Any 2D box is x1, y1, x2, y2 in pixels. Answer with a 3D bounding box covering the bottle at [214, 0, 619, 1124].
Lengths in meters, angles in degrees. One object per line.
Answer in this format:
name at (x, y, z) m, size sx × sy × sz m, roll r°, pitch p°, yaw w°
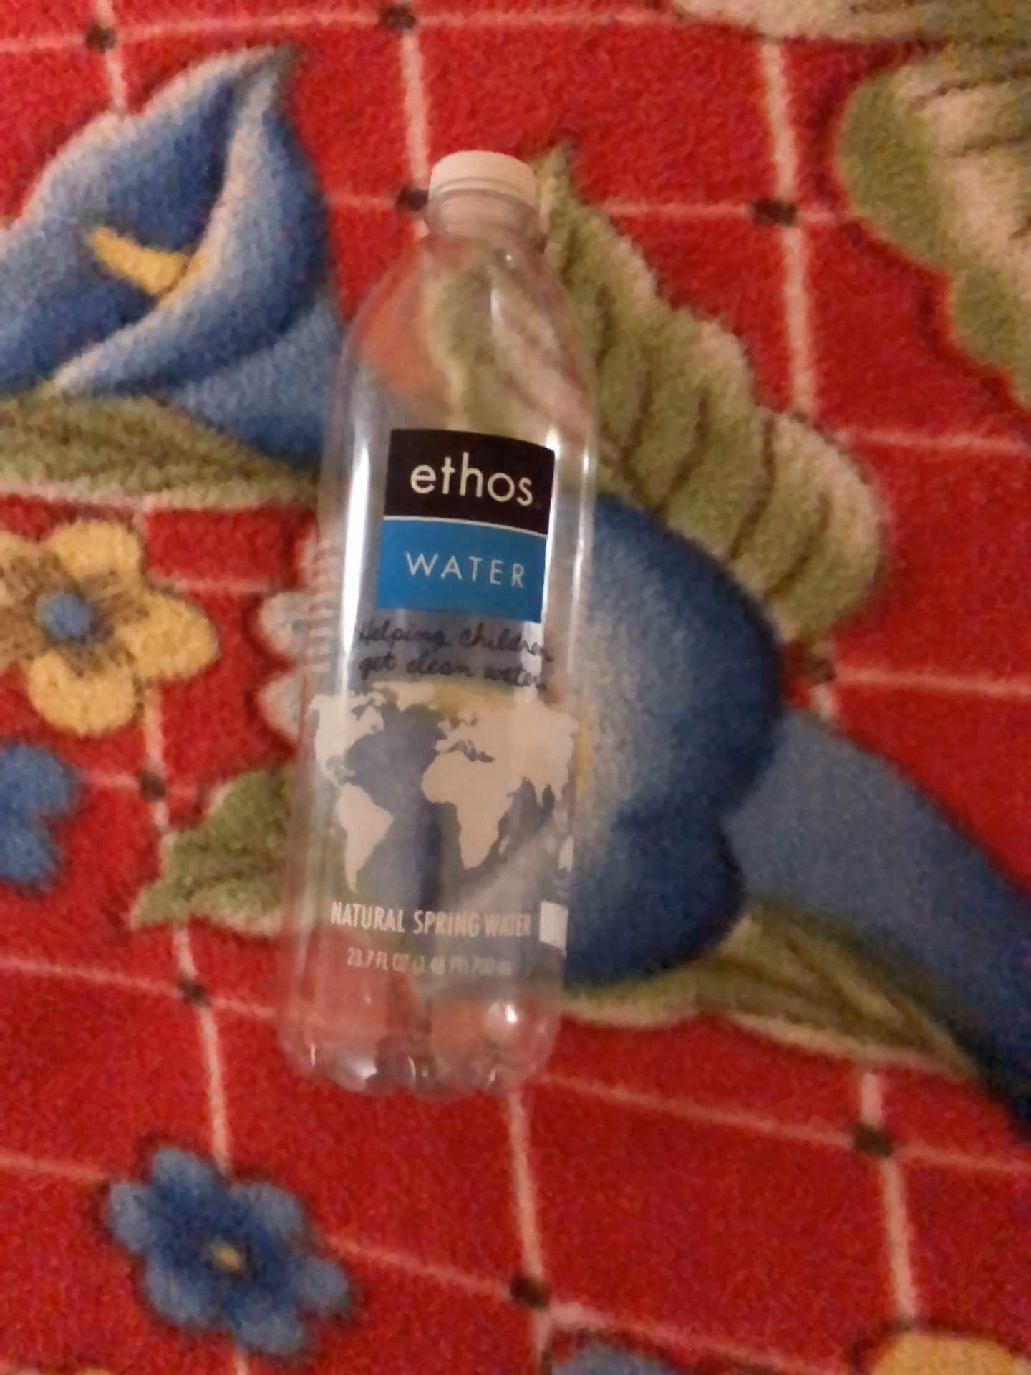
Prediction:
bottle at (-0.025, -0.028, 0.277) m, size 0.070 × 0.070 × 0.240 m, roll 4°, pitch 88°, yaw -8°
